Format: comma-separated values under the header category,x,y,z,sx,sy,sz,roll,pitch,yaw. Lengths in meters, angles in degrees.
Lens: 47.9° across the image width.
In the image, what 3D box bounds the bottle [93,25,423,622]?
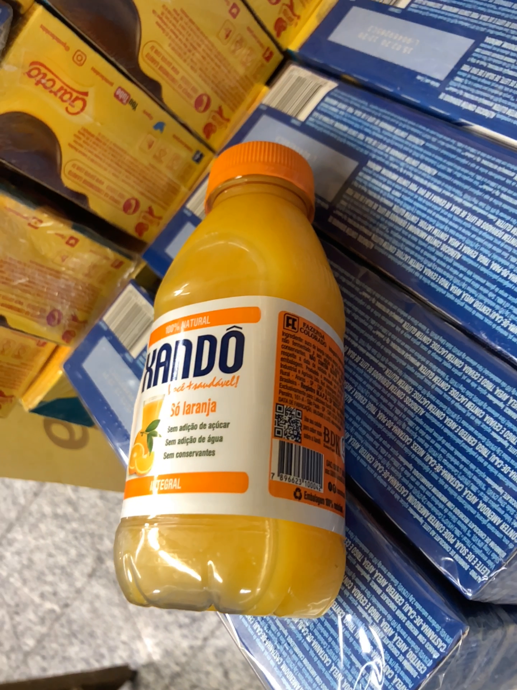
category,x,y,z,sx,sy,sz,roll,pitch,yaw
bottle,0.006,-0.004,0.198,0.060,0.080,0.170,-12,64,31
